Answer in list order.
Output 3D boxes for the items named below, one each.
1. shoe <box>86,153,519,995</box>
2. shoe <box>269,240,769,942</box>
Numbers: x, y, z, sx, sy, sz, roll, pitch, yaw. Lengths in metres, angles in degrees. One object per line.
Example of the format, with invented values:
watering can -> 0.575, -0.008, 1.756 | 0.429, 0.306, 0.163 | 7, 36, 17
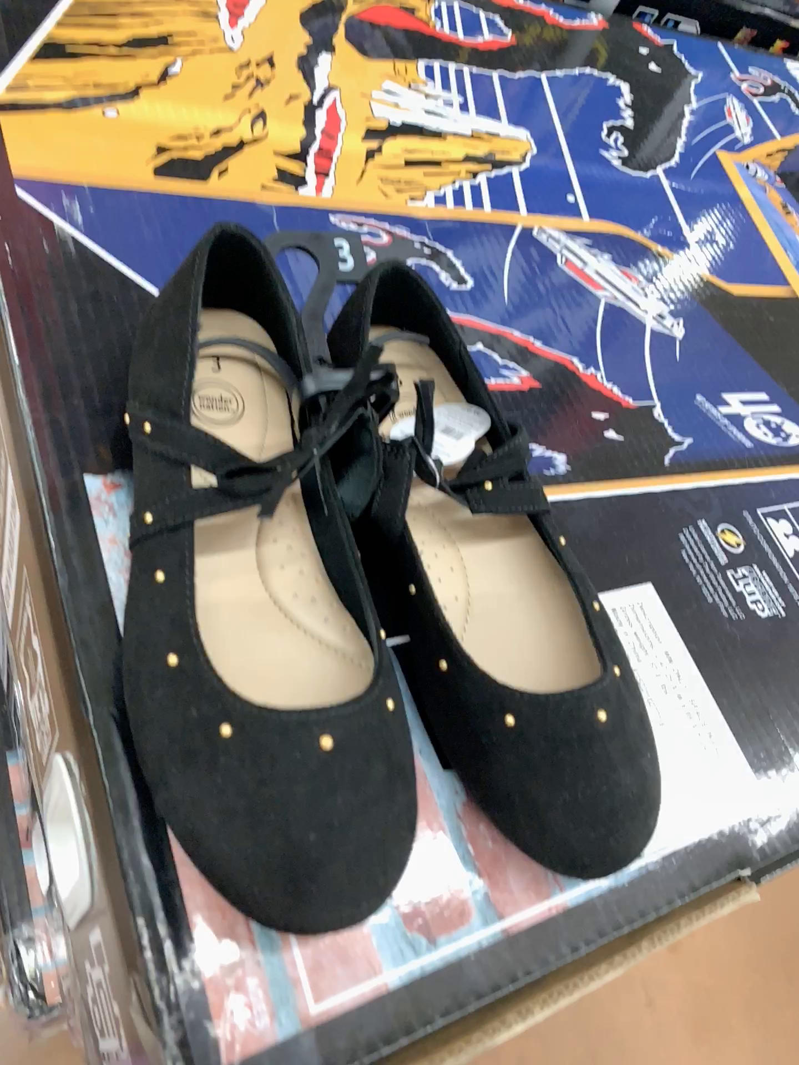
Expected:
shoe -> -0.046, 0.001, 0.261 | 0.090, 0.070, 0.240 | 1, 63, -25
shoe -> 0.031, 0.009, 0.320 | 0.090, 0.070, 0.250 | -7, 66, -28
